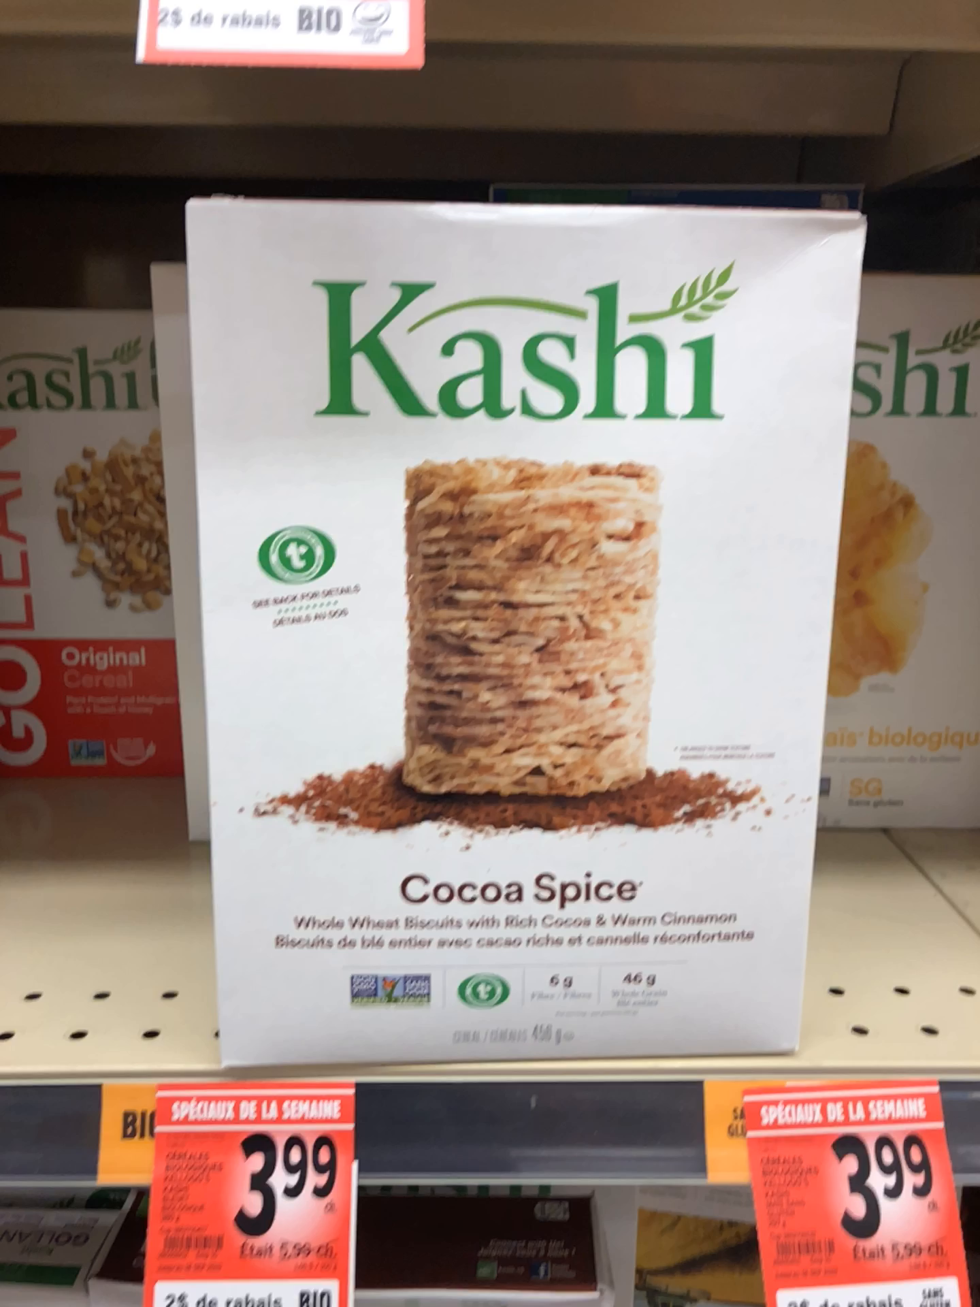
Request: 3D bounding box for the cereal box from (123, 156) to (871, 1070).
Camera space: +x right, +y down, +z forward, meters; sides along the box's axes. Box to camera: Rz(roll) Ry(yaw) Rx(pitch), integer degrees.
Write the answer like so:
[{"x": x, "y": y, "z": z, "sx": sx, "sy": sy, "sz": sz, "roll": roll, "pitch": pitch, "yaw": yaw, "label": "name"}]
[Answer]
[{"x": 0.001, "y": -0.008, "z": 0.363, "sx": 0.210, "sy": 0.279, "sz": 0.060, "roll": 0, "pitch": 12, "yaw": -4, "label": "cereal box"}]
